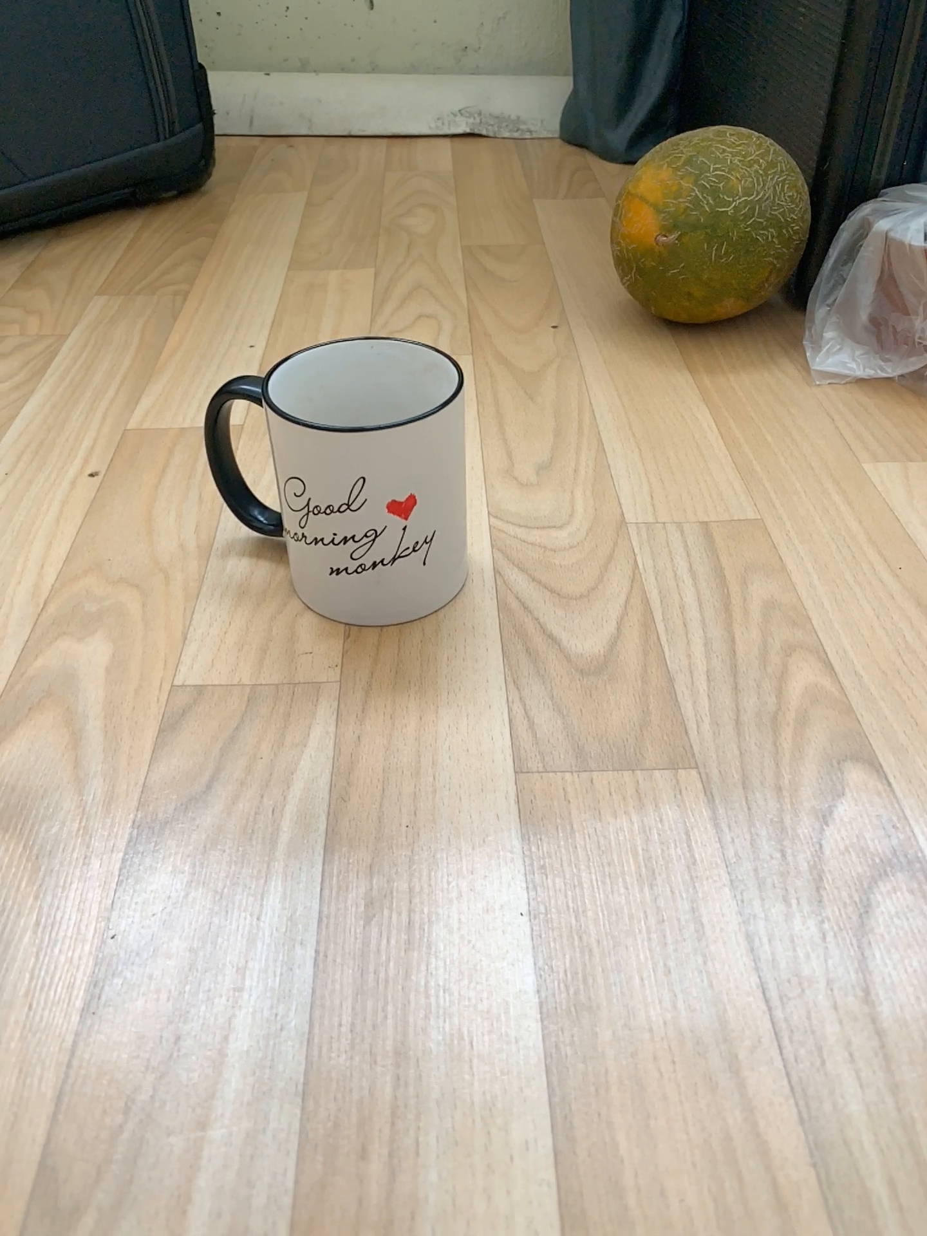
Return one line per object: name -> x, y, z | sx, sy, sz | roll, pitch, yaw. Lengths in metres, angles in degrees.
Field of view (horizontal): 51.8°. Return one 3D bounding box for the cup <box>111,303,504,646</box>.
cup -> -0.056, -0.062, 0.399 | 0.130, 0.100, 0.080 | 9, 41, 10
